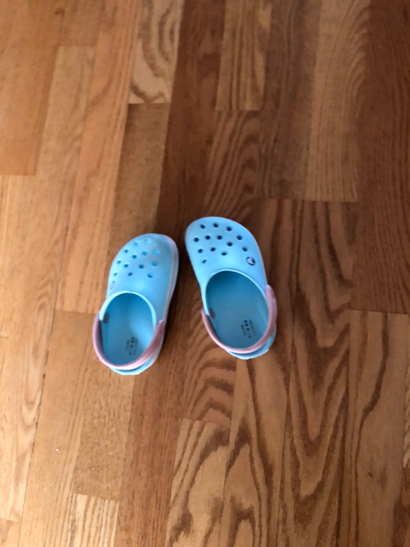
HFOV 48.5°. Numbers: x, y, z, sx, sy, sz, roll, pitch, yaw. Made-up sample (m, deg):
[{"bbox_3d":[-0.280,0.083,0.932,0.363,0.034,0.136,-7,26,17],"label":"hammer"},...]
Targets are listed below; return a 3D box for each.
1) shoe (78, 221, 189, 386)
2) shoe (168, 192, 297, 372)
[{"bbox_3d":[-0.075,0.032,0.504,0.083,0.057,0.165,5,81,14],"label":"shoe"},{"bbox_3d":[0.029,0.010,0.480,0.083,0.048,0.165,-19,76,9],"label":"shoe"}]
